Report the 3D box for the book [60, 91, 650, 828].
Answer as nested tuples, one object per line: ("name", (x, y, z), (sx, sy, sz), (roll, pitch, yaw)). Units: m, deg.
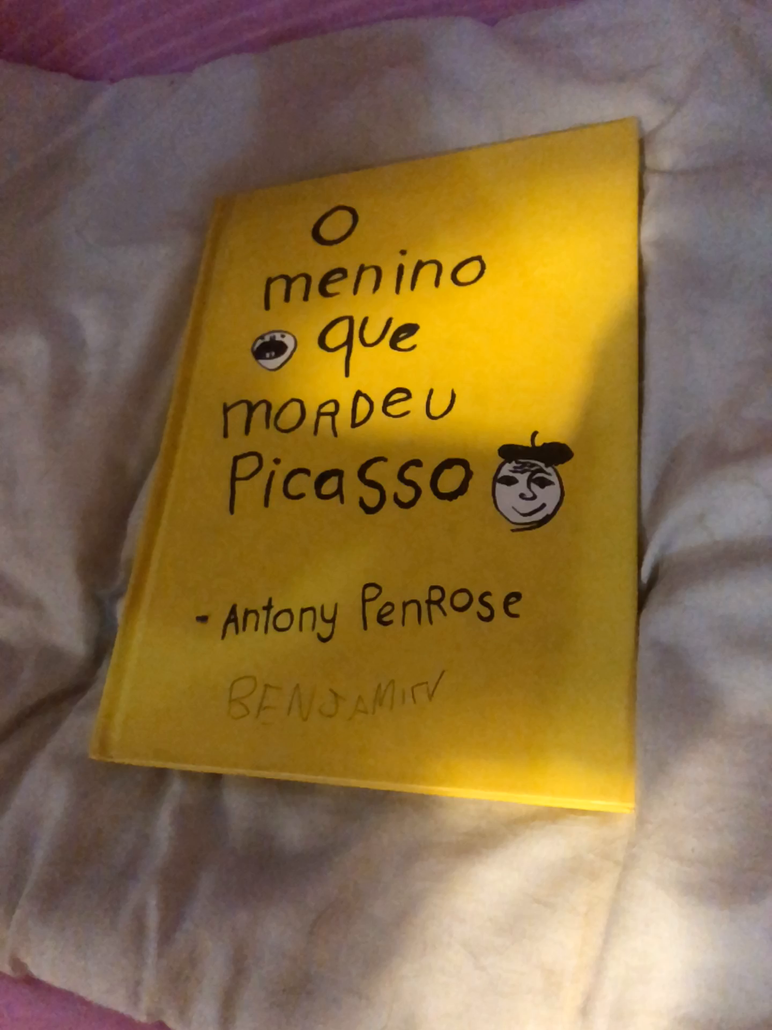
("book", (-0.004, -0.029, 0.299), (0.180, 0.024, 0.240), (-1, 68, 21))
